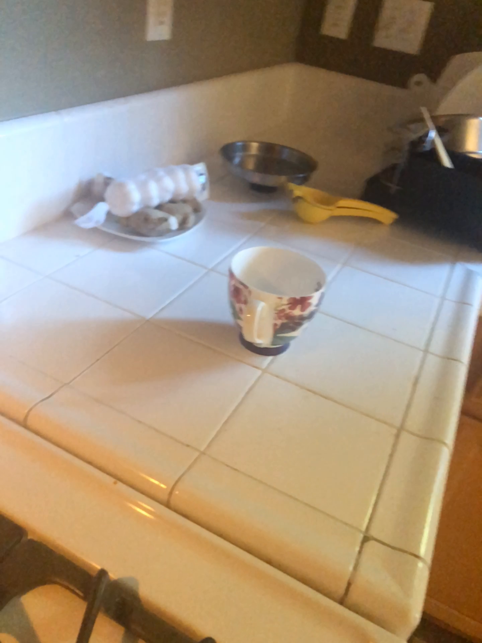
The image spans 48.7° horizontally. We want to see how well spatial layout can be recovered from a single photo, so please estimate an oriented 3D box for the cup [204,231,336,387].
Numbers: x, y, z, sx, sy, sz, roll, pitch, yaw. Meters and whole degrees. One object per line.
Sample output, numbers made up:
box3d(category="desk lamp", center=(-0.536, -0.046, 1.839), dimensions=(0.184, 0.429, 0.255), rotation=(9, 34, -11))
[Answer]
box3d(category="cup", center=(0.036, -0.020, 0.579), dimensions=(0.110, 0.079, 0.151), rotation=(14, 35, 4))
